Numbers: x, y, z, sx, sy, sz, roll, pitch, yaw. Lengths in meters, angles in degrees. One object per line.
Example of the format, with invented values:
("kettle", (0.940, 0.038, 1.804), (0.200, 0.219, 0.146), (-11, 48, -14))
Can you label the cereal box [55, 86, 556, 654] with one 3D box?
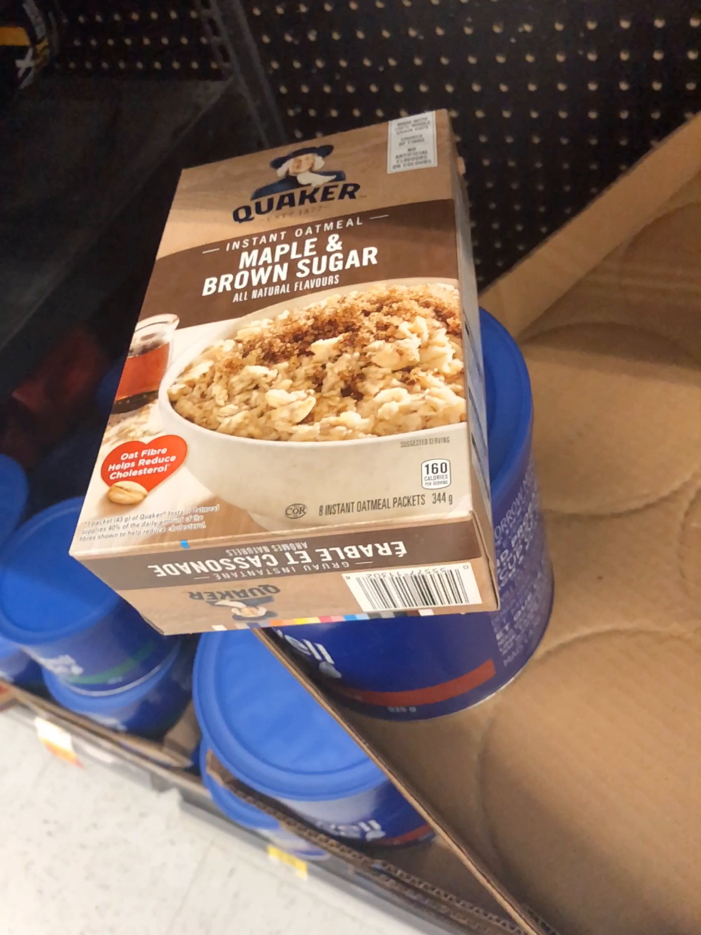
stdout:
("cereal box", (-0.007, -0.042, 0.299), (0.140, 0.070, 0.200), (-7, 54, 13))
